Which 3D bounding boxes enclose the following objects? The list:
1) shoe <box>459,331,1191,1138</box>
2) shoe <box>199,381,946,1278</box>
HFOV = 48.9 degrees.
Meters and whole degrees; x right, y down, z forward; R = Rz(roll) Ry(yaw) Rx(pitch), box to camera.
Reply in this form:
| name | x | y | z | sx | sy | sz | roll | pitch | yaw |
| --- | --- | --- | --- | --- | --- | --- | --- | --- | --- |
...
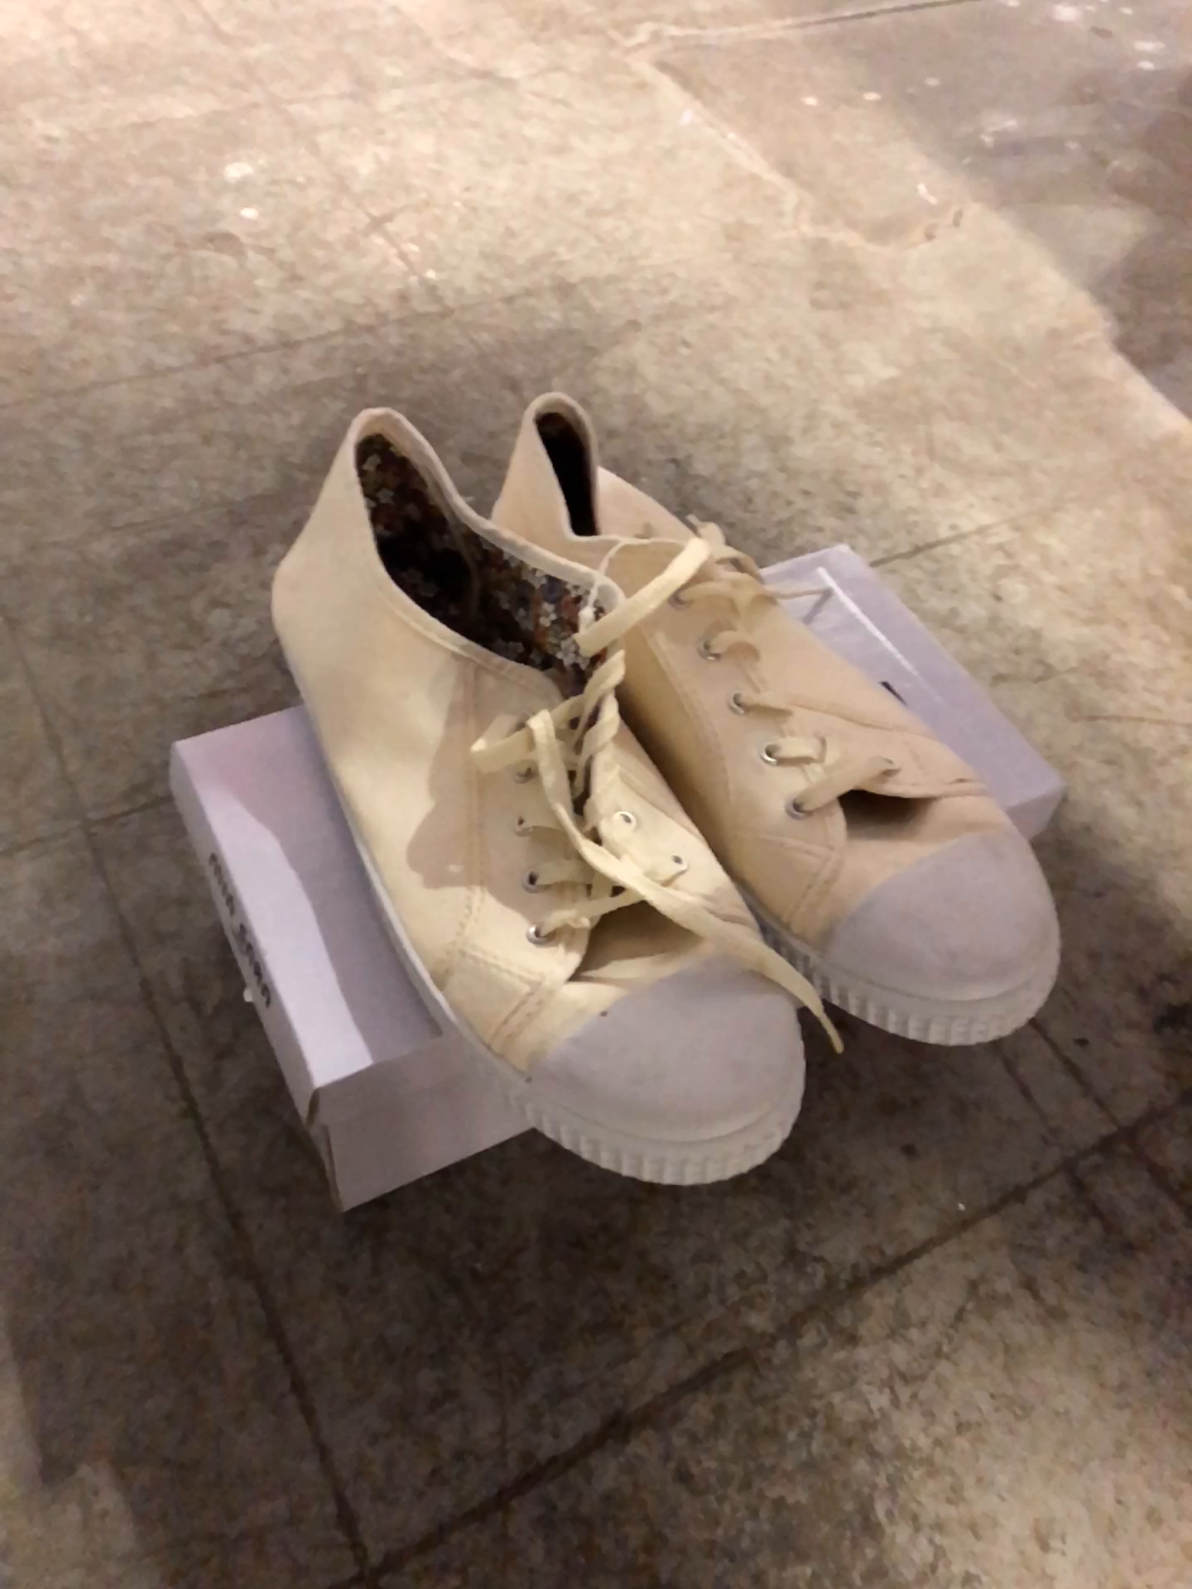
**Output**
| name | x | y | z | sx | sy | sz | roll | pitch | yaw |
| --- | --- | --- | --- | --- | --- | --- | --- | --- | --- |
| shoe | 0.057 | -0.035 | 0.413 | 0.100 | 0.079 | 0.251 | -21 | 56 | -22 |
| shoe | -0.024 | -0.008 | 0.389 | 0.090 | 0.079 | 0.261 | -21 | 56 | -22 |
